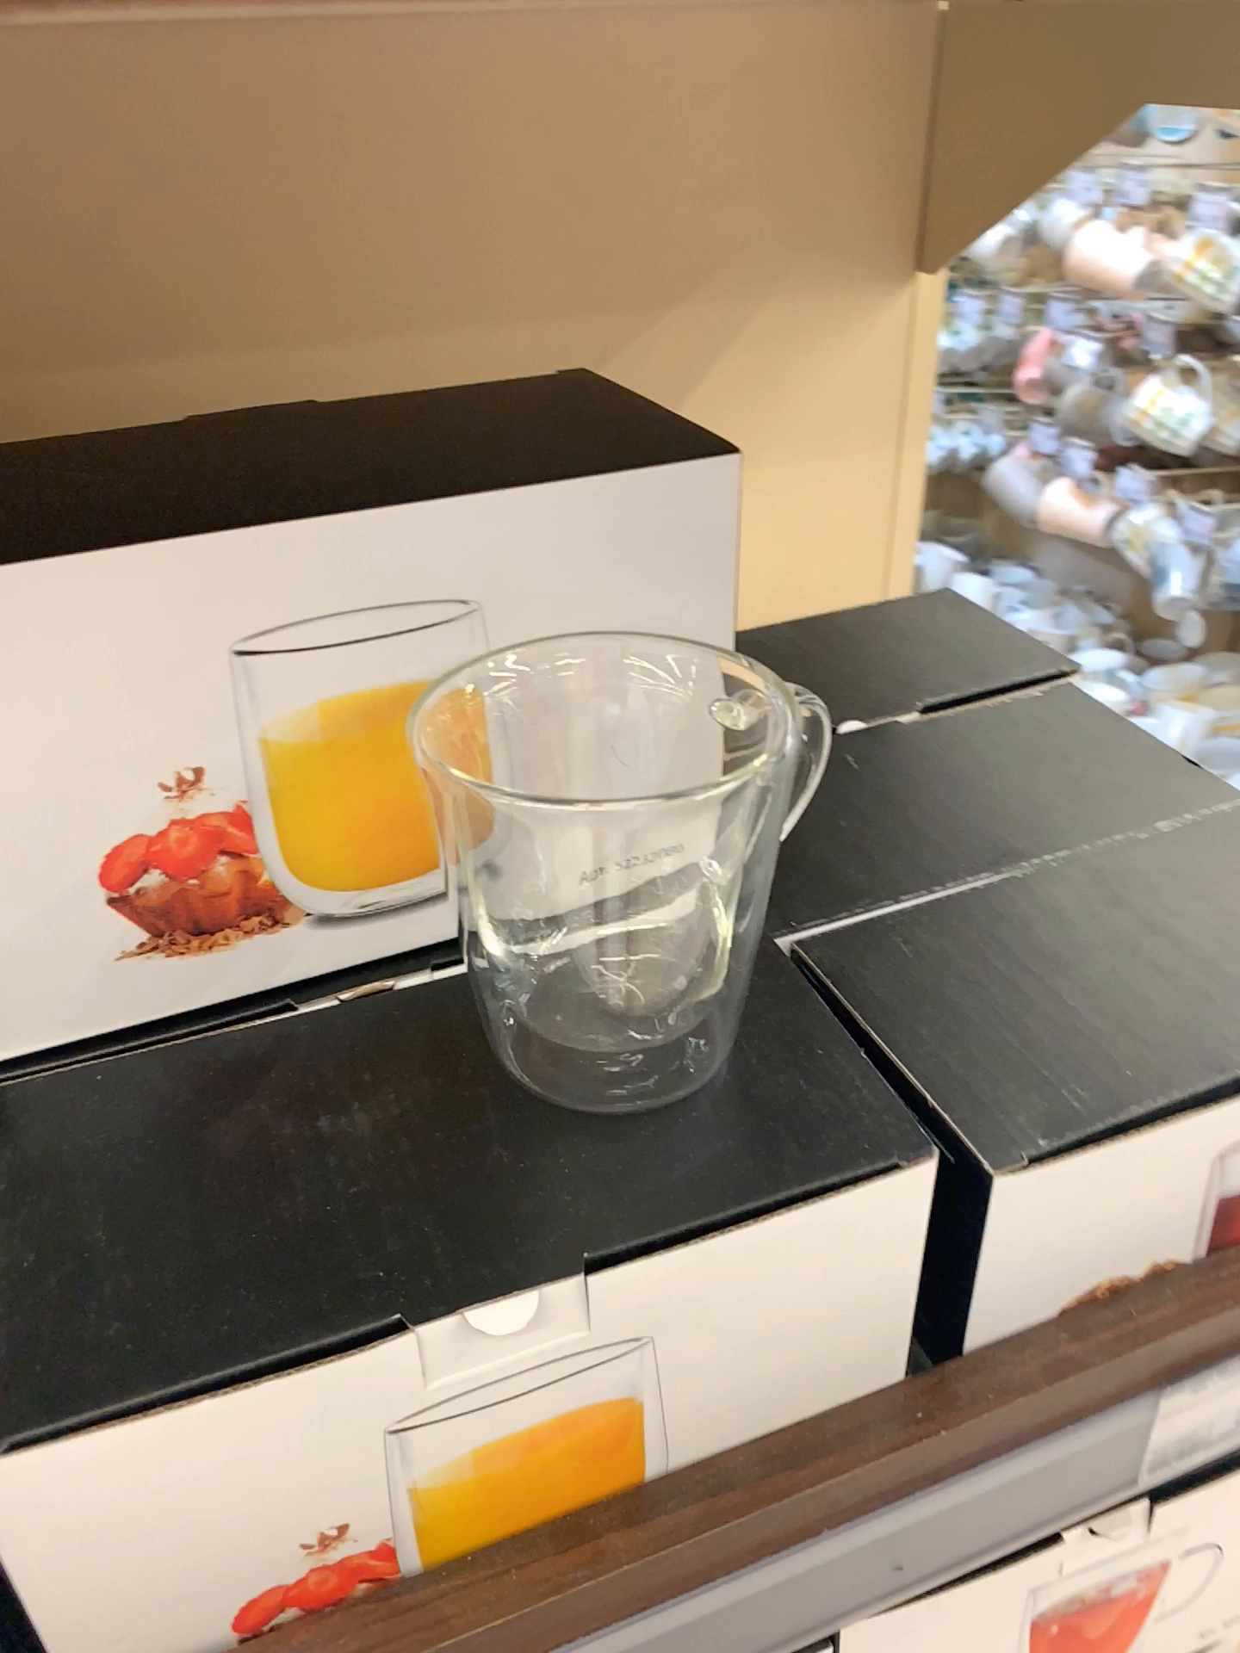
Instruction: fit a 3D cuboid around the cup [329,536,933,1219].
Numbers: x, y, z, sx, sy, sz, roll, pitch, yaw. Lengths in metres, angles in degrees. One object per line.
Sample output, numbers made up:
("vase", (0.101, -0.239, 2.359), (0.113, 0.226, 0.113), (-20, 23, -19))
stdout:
("cup", (0.008, 0.003, 0.277), (0.070, 0.090, 0.110), (20, 38, 29))
